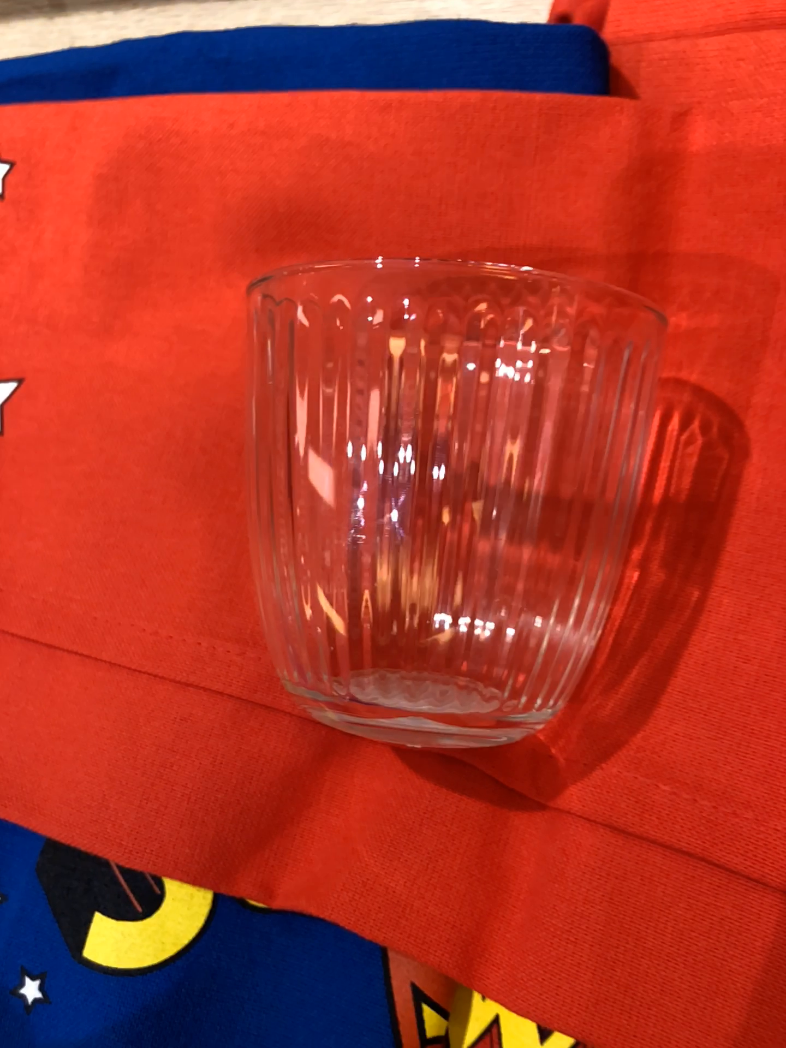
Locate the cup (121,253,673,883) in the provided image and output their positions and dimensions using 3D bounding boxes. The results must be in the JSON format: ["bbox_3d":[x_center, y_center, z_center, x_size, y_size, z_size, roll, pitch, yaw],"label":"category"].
[{"bbox_3d":[0.003,0.002,0.169,0.080,0.060,0.090,7,96,24],"label":"cup"}]
